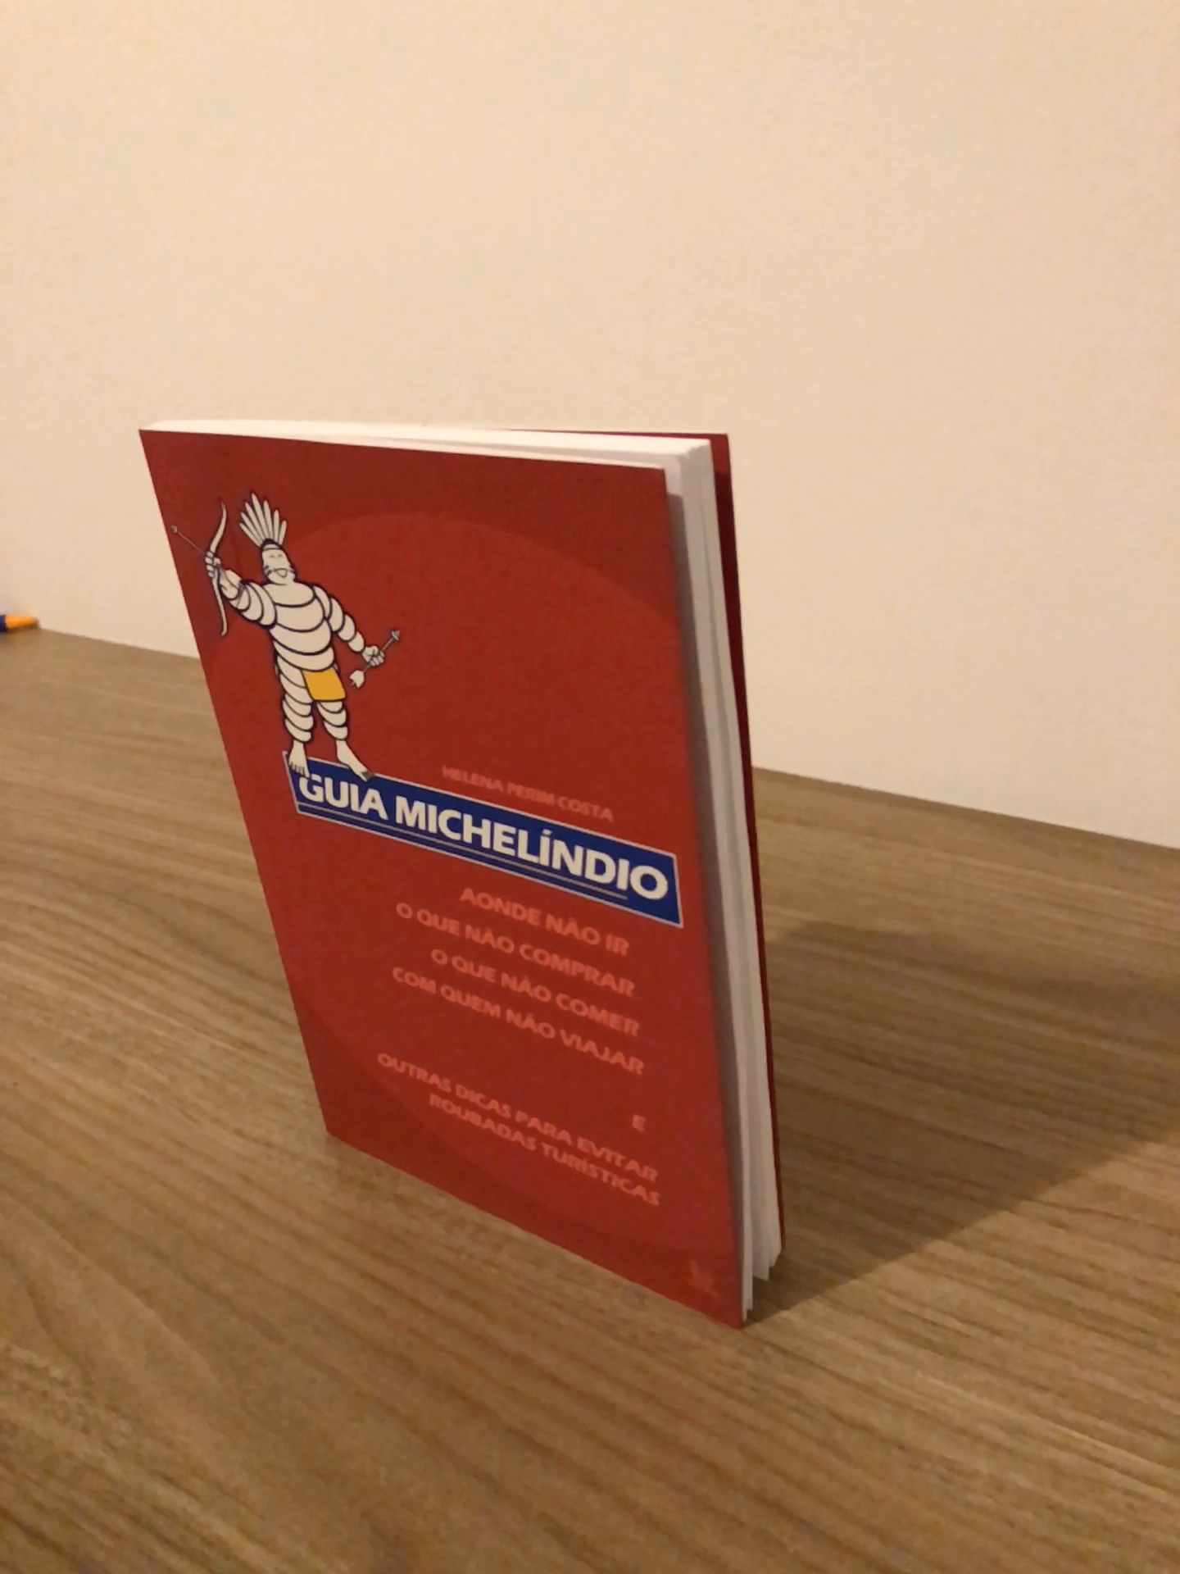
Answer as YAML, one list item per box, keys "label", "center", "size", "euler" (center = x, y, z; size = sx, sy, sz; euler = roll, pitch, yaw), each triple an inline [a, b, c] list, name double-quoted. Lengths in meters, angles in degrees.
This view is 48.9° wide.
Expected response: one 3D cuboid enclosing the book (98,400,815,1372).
- label: "book"
  center: [-0.026, 0.025, 0.302]
  size: [0.151, 0.218, 0.020]
  euler: [12, 34, 33]
